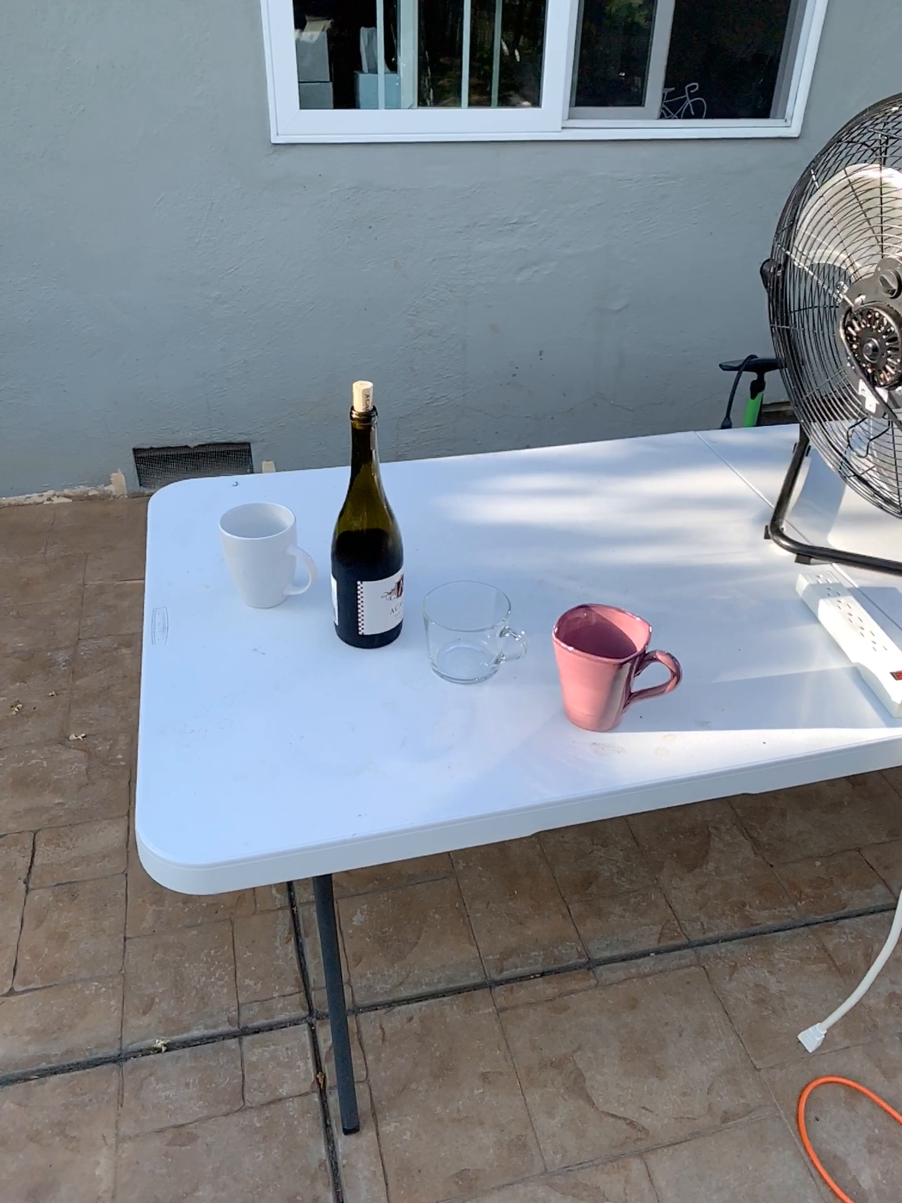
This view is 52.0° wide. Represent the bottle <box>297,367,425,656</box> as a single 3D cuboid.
[{"bbox_3d":[-0.097,-0.099,1.064,0.101,0.303,0.103,1,34,-1],"label":"bottle"}]
